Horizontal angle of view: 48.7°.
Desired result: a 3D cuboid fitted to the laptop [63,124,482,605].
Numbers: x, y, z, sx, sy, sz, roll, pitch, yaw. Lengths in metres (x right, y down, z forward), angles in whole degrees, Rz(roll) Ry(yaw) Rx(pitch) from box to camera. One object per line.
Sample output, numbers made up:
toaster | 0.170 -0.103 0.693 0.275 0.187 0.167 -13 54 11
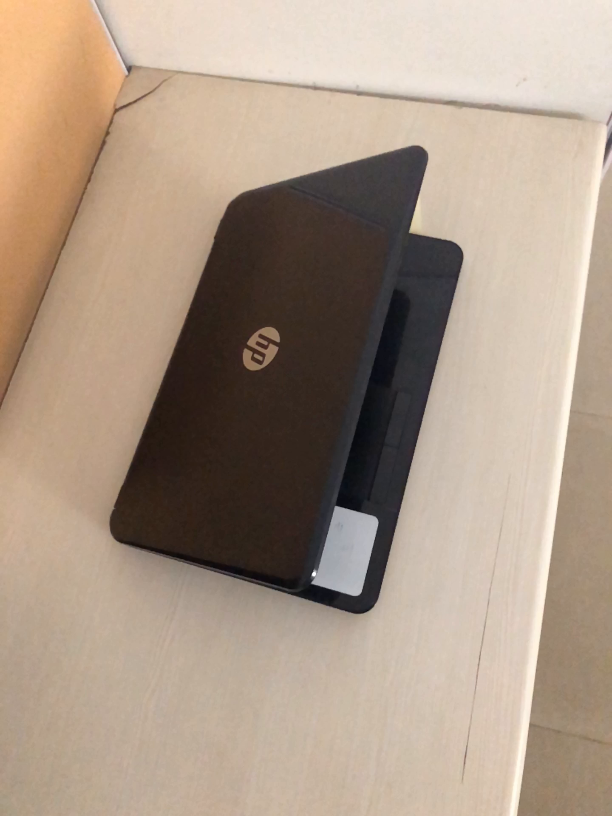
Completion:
laptop | -0.010 -0.040 0.584 0.223 0.131 0.352 15 74 12
